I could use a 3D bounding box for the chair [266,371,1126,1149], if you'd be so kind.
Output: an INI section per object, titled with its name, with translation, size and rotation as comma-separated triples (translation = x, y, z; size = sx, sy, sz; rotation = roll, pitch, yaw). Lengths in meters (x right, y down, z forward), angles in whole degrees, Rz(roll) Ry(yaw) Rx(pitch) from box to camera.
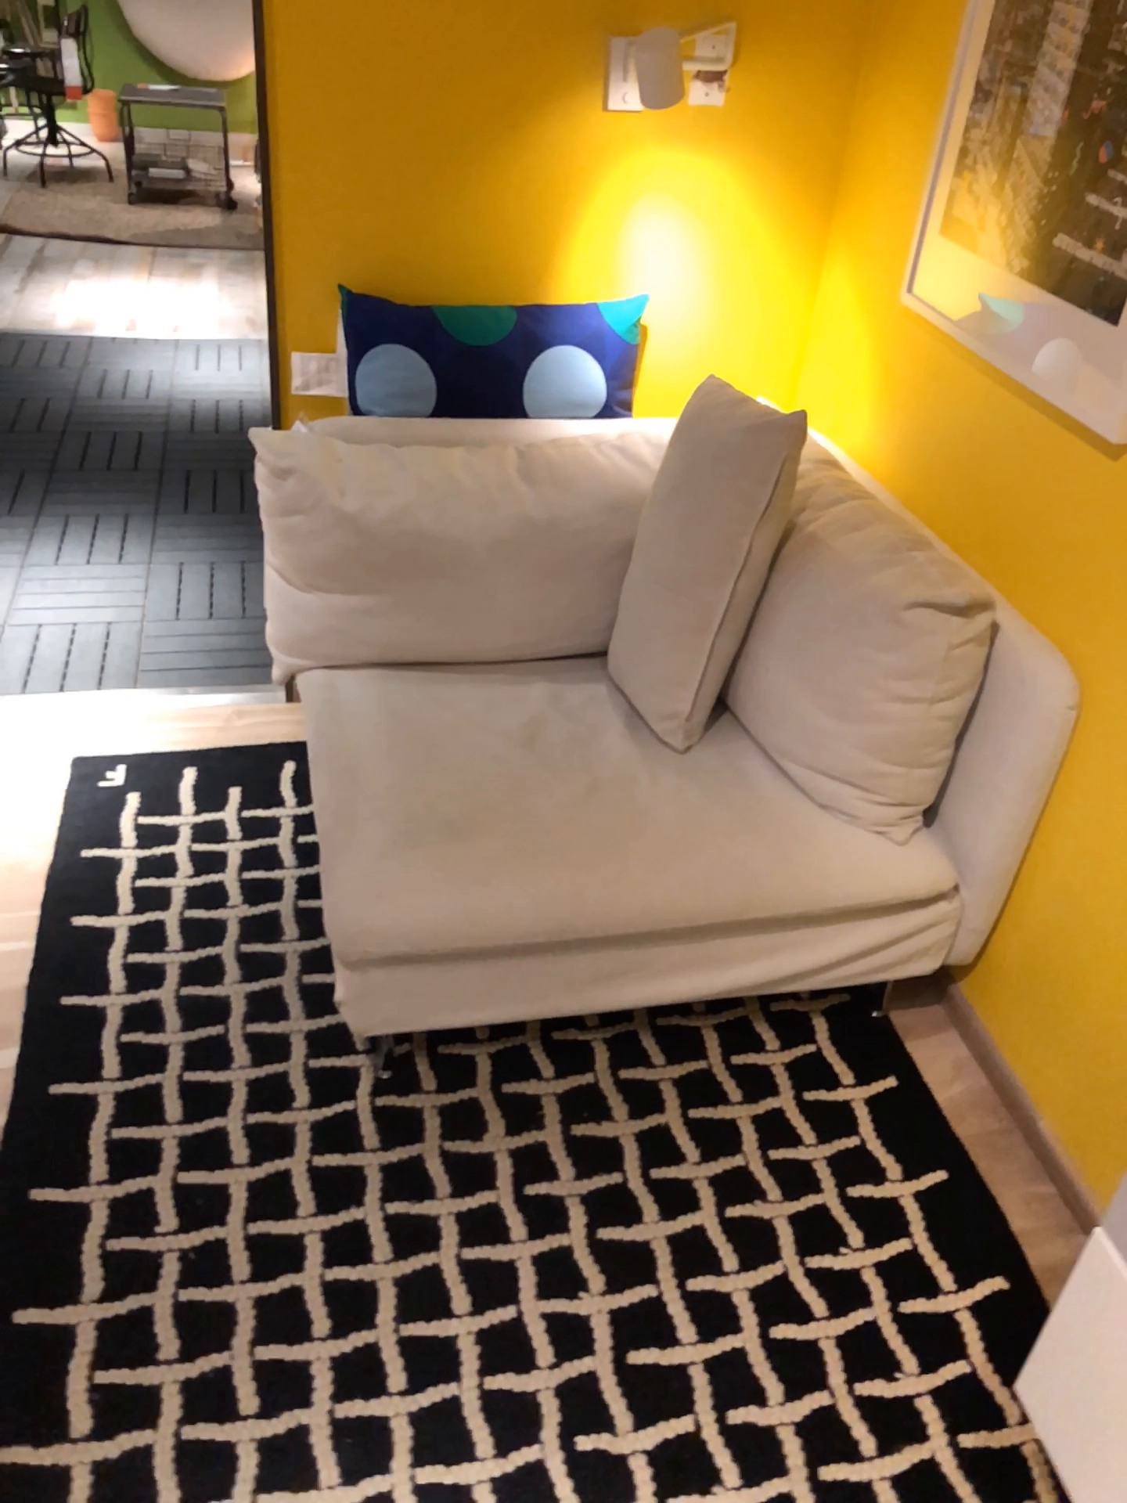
[chair]
translation = 0.112, -0.080, 2.040
size = 1.111, 0.755, 1.016
rotation = -3, 35, -13
